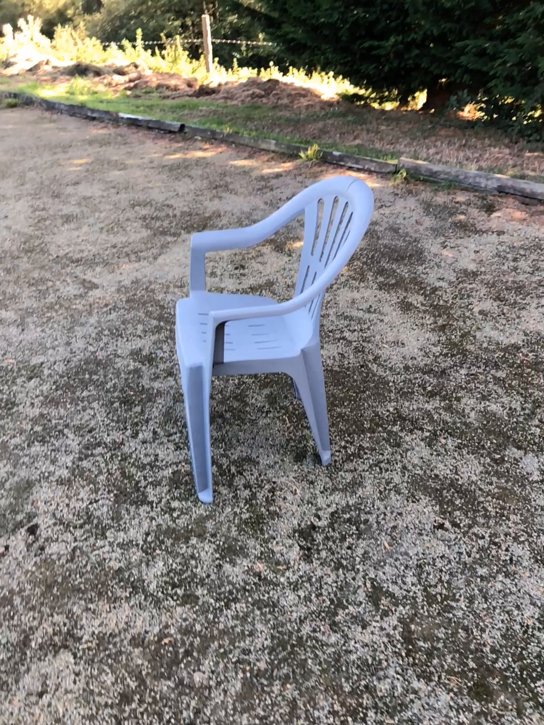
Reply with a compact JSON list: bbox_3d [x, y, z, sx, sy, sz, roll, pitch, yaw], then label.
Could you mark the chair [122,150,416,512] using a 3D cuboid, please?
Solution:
[{"bbox_3d":[-0.032,-0.121,1.708,0.620,0.775,0.633,-6,32,-6],"label":"chair"}]
